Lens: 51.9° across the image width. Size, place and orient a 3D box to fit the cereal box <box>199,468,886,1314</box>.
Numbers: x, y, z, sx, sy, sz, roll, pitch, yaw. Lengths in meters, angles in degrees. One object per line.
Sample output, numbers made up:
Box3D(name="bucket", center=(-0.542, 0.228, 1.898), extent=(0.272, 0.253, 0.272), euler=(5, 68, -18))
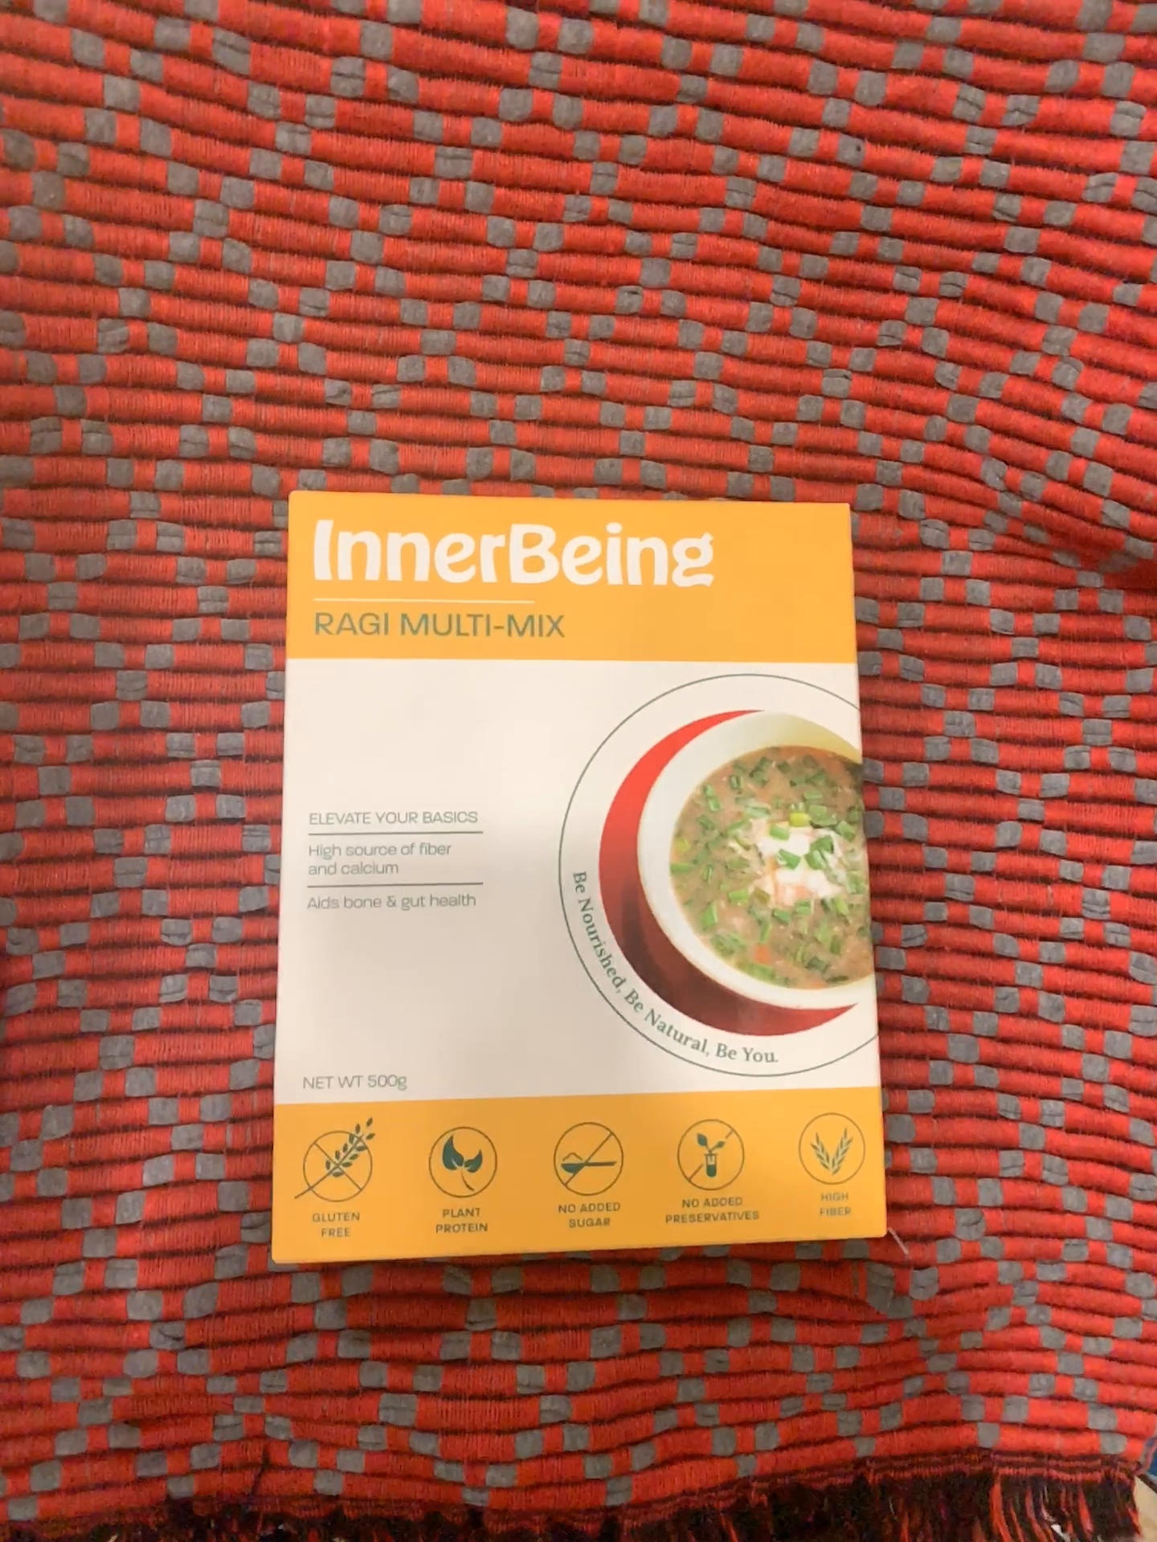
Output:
Box3D(name="cereal box", center=(-0.011, 0.027, 0.309), extent=(0.150, 0.070, 0.190), euler=(0, 80, -6))
